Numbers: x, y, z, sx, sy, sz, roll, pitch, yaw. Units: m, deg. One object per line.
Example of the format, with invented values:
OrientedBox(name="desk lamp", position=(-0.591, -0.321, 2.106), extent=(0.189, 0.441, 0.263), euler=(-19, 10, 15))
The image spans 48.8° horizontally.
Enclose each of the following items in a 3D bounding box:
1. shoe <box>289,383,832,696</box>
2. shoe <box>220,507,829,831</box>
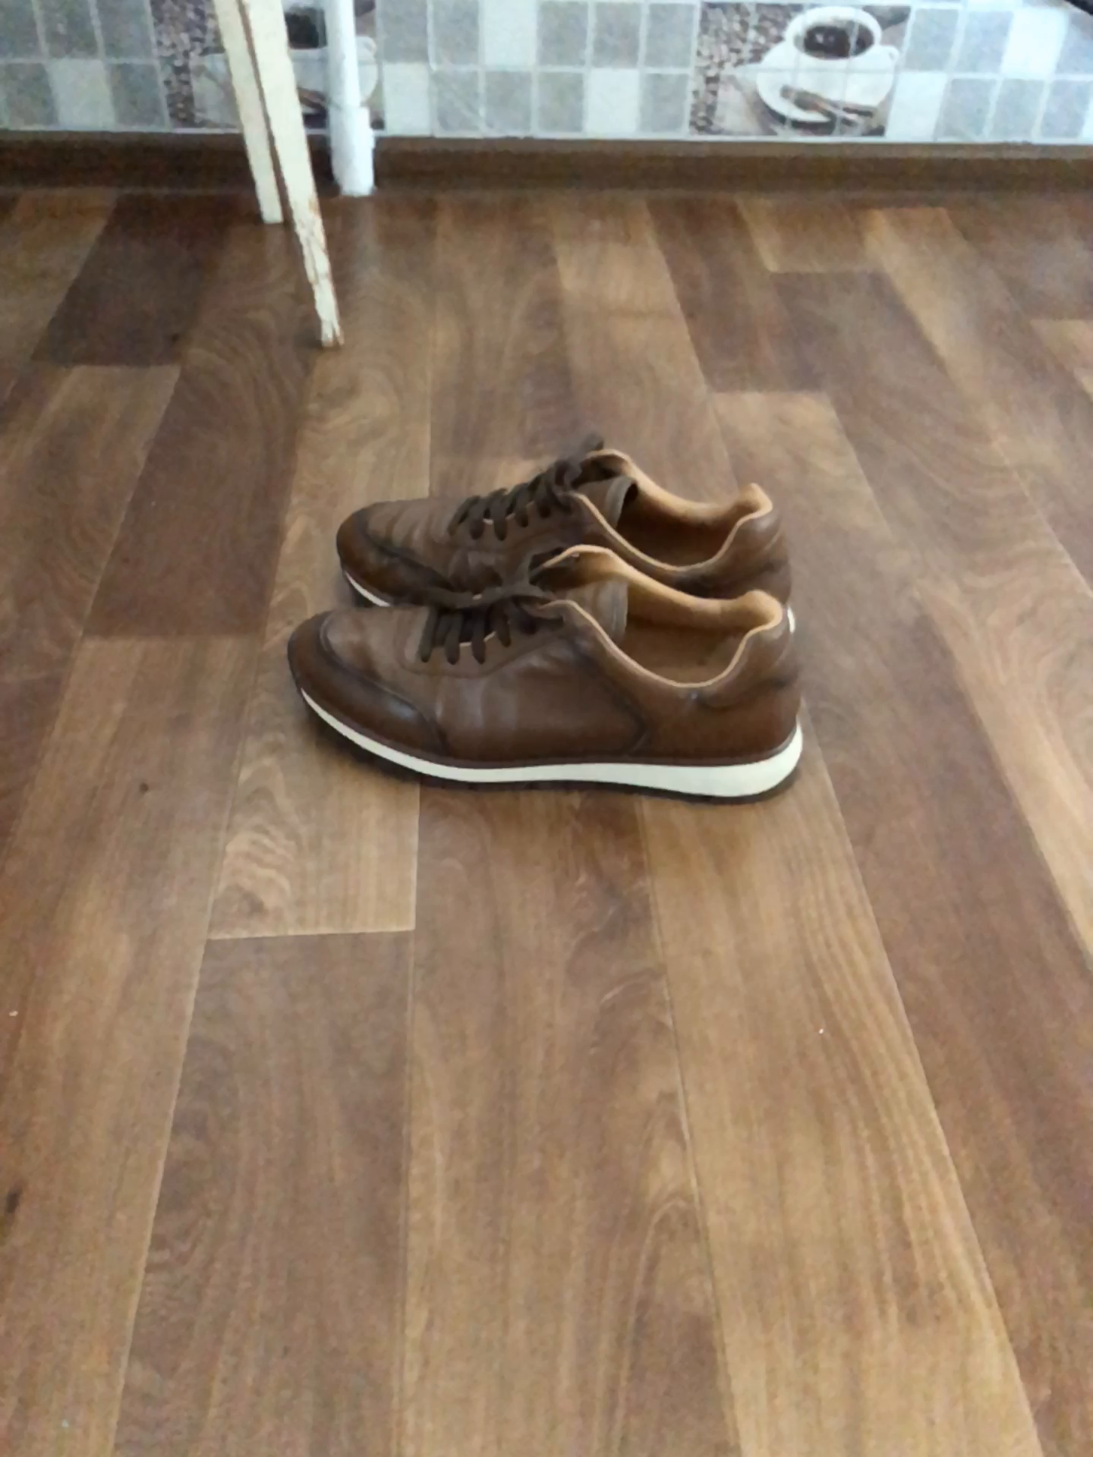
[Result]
OrientedBox(name="shoe", position=(0.011, -0.112, 0.689), extent=(0.280, 0.089, 0.111), euler=(10, 44, 8))
OrientedBox(name="shoe", position=(-0.007, -0.033, 0.614), extent=(0.280, 0.089, 0.101), euler=(7, 43, 5))
